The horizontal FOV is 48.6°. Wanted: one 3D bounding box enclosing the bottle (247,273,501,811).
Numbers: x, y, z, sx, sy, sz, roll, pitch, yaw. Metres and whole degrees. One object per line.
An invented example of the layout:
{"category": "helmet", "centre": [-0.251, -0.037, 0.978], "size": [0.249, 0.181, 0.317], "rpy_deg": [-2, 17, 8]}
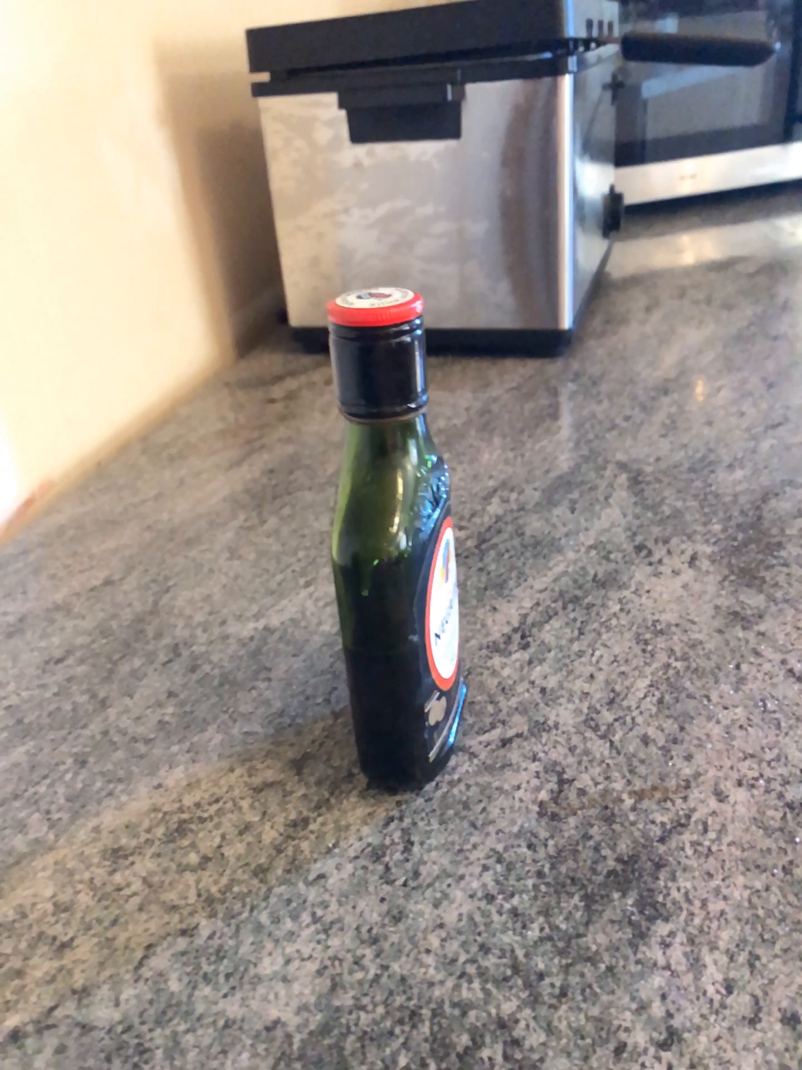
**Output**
{"category": "bottle", "centre": [0.000, 0.002, 0.301], "size": [0.050, 0.159, 0.081], "rpy_deg": [2, 28, 14]}
